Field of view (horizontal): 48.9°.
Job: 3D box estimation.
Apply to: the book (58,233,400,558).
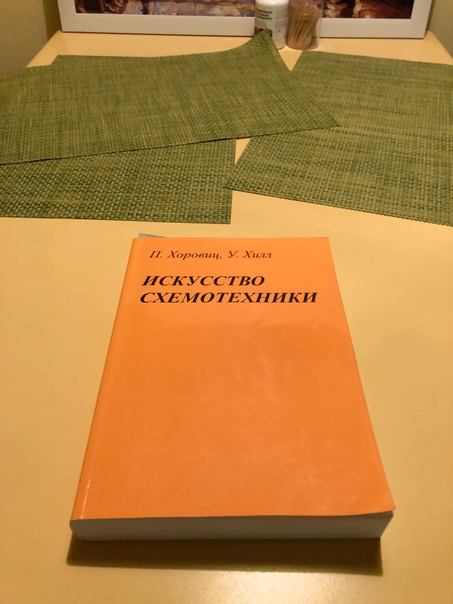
[{"bbox_3d":[0.002,0.043,0.351,0.171,0.048,0.239,1,44,0],"label":"book"}]
